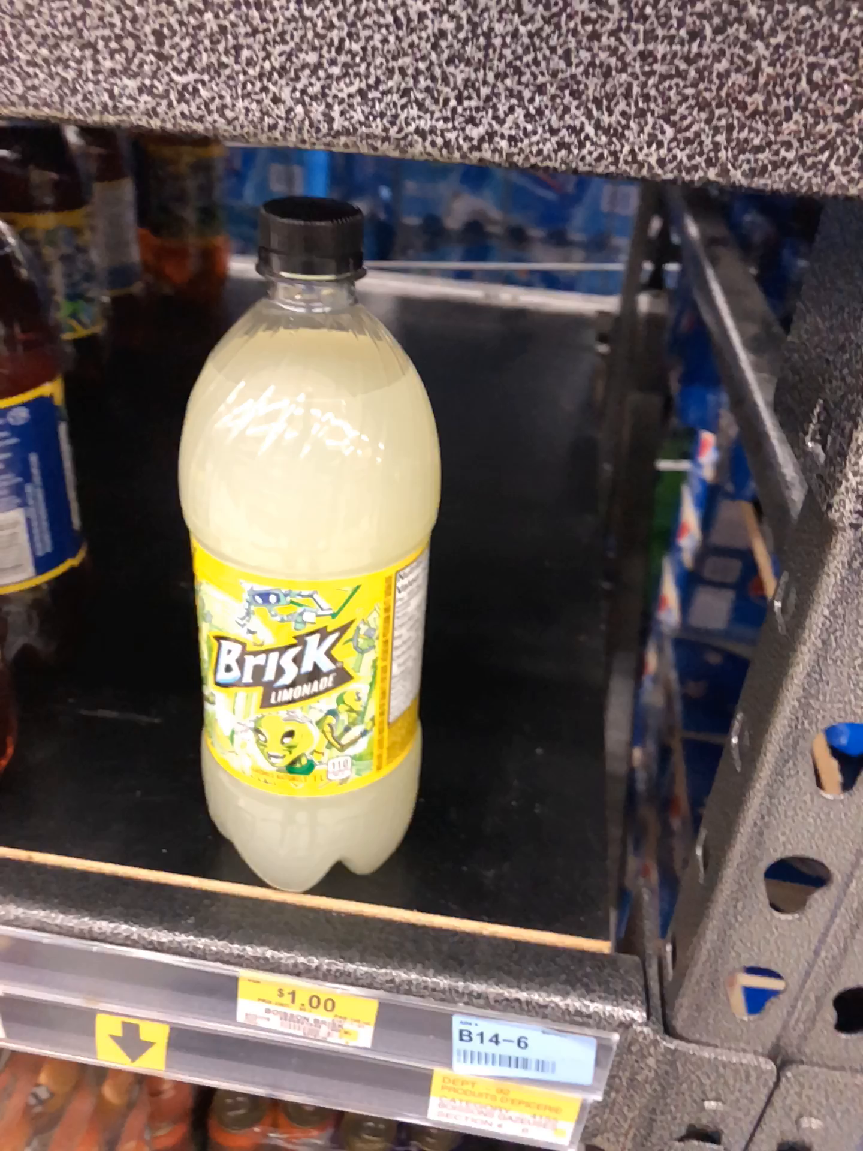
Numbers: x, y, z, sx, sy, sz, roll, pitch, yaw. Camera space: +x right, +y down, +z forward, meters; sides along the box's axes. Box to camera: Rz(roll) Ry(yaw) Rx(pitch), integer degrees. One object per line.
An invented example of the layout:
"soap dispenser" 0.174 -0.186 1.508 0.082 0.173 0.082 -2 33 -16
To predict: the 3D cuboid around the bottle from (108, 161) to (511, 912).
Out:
"bottle" -0.035 -0.006 0.326 0.090 0.228 0.091 4 32 -2
